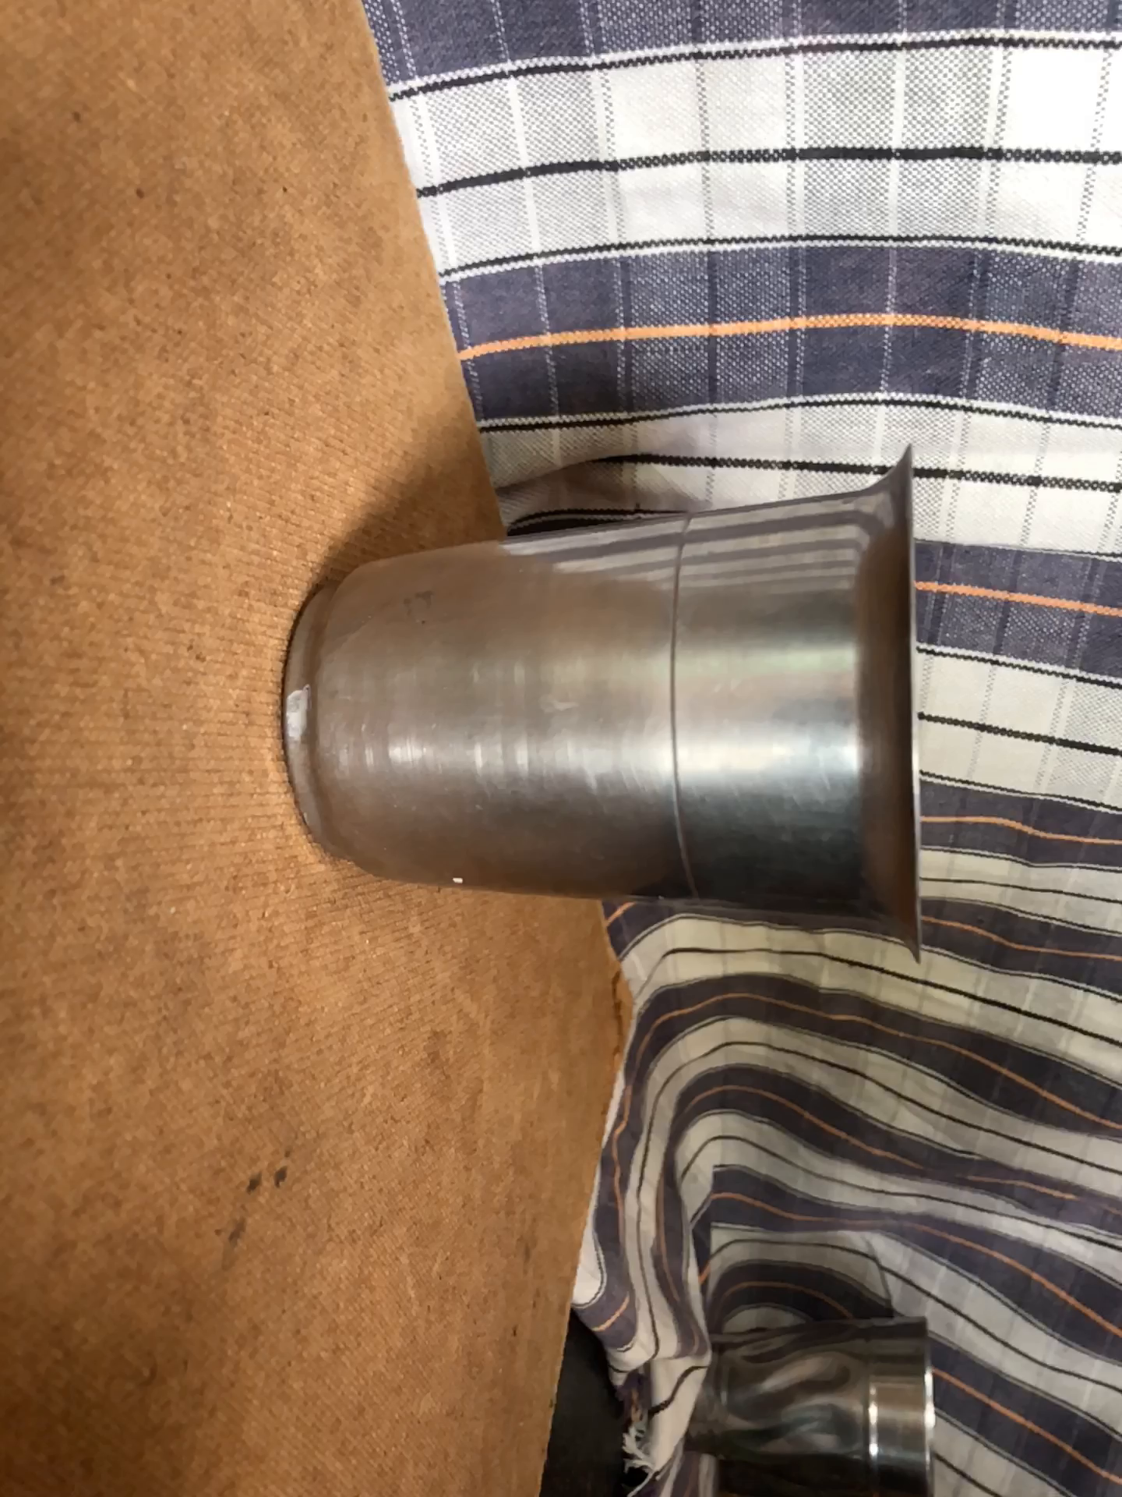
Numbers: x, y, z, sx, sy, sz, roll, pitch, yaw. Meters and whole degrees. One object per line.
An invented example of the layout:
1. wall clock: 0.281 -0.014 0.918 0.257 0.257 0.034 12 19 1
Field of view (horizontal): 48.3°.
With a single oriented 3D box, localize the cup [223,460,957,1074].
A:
1. cup: 0.013 -0.002 0.216 0.080 0.100 0.080 -2 90 -75
